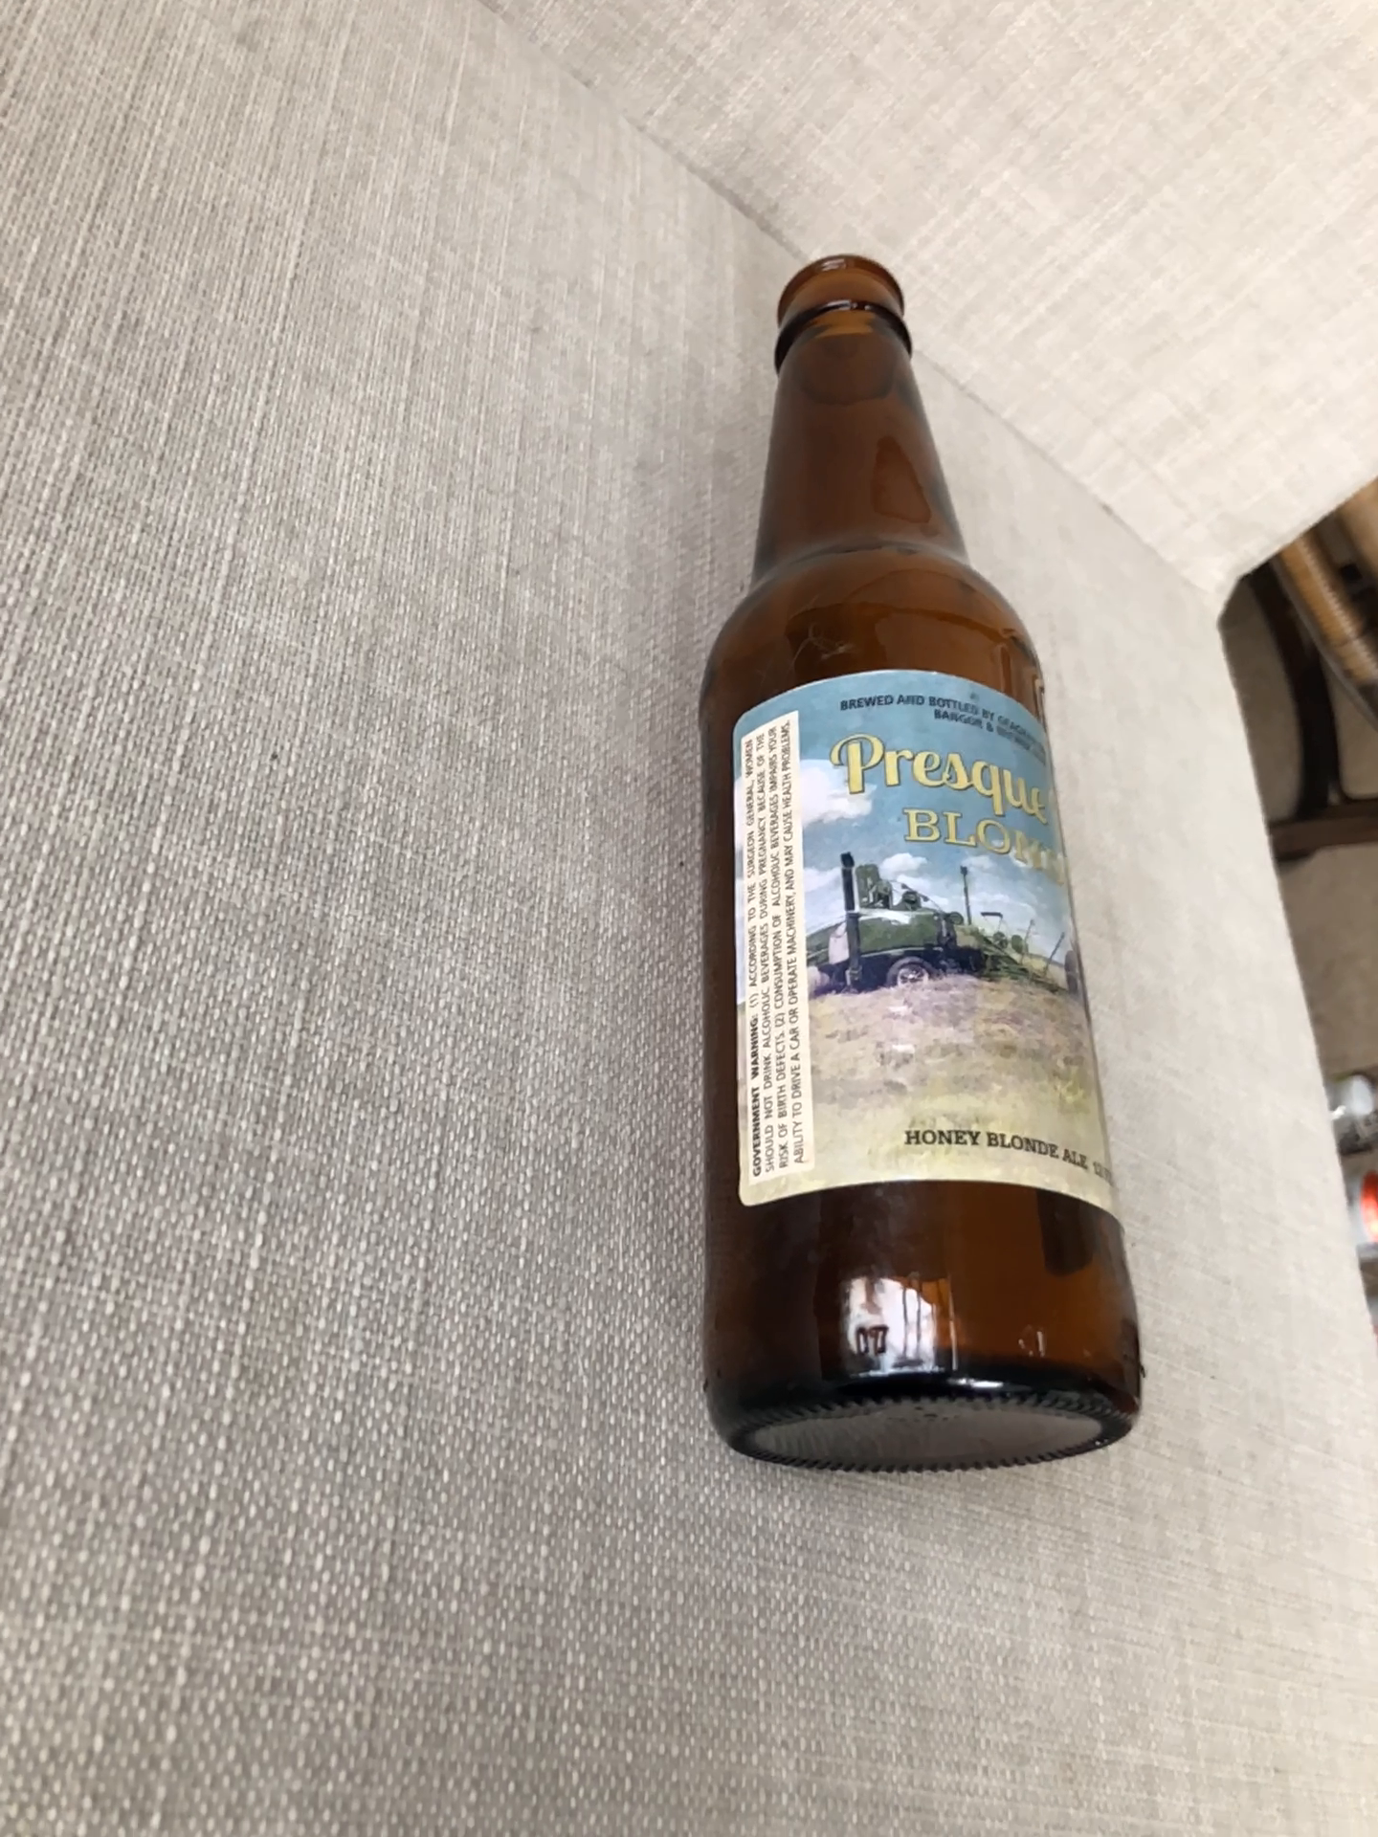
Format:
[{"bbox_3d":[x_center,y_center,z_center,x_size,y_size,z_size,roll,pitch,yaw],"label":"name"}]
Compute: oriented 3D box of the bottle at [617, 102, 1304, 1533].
[{"bbox_3d":[0.035,-0.026,0.257,0.066,0.059,0.231,16,57,-25],"label":"bottle"}]
